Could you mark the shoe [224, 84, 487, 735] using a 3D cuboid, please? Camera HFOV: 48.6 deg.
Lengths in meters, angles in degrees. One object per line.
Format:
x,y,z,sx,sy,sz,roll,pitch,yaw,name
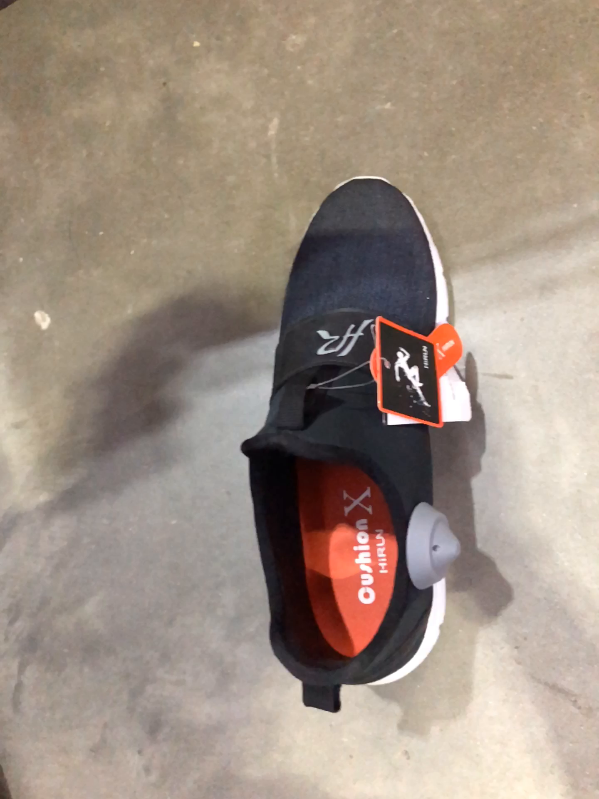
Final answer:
0.038,0.005,0.350,0.100,0.130,0.270,-3,80,19,shoe
